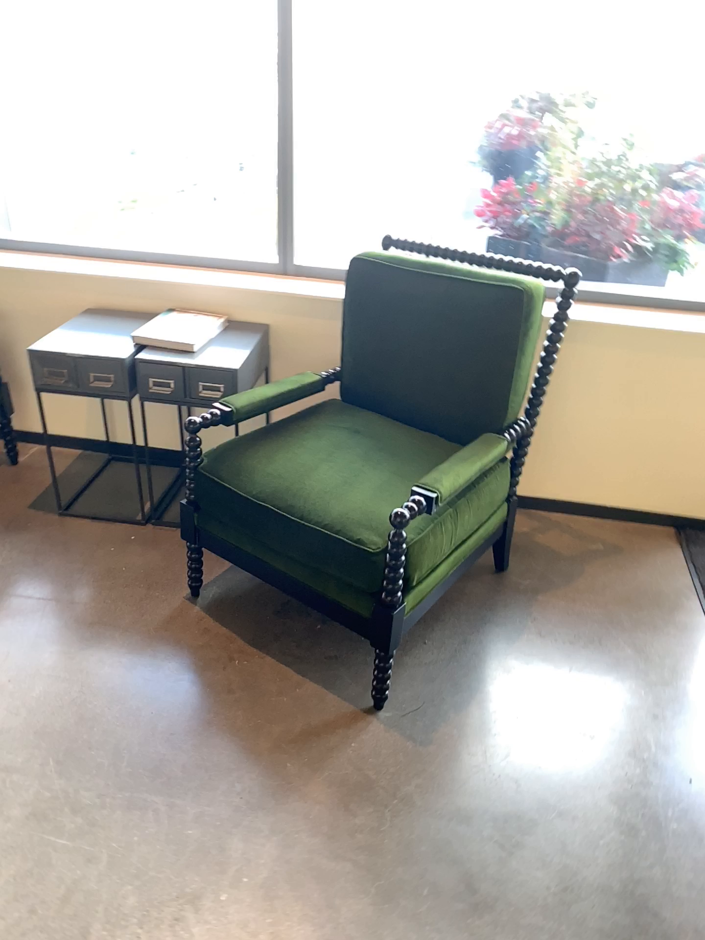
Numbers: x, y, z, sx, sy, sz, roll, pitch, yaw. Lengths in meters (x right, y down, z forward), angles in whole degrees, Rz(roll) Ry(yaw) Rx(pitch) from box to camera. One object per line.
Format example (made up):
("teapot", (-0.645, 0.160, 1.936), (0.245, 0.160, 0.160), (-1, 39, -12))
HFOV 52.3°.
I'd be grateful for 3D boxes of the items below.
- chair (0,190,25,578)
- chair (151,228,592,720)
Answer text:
("chair", (-1.766, -0.306, 2.319), (0.920, 0.974, 0.734), (4, 30, 2))
("chair", (0.067, -0.083, 2.126), (0.763, 0.984, 0.922), (23, 35, 31))
